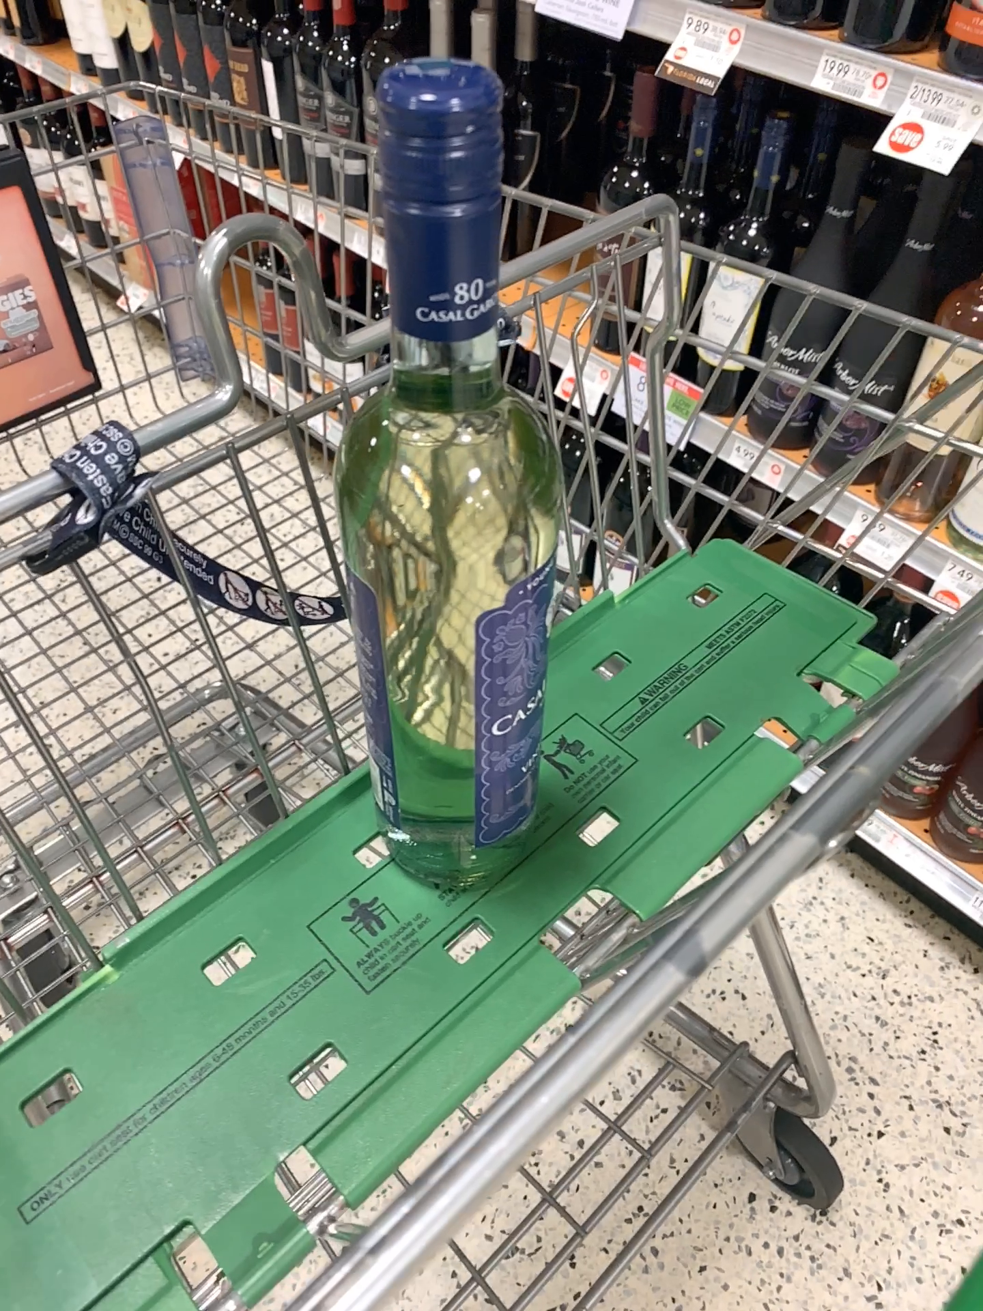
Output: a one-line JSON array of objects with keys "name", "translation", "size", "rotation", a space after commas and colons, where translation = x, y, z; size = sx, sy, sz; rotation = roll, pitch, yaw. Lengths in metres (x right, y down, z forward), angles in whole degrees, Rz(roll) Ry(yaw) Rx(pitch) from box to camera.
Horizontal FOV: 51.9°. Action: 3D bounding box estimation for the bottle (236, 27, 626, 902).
[{"name": "bottle", "translation": [-0.010, -0.031, 0.342], "size": [0.080, 0.297, 0.081], "rotation": [0, 47, 0]}]
